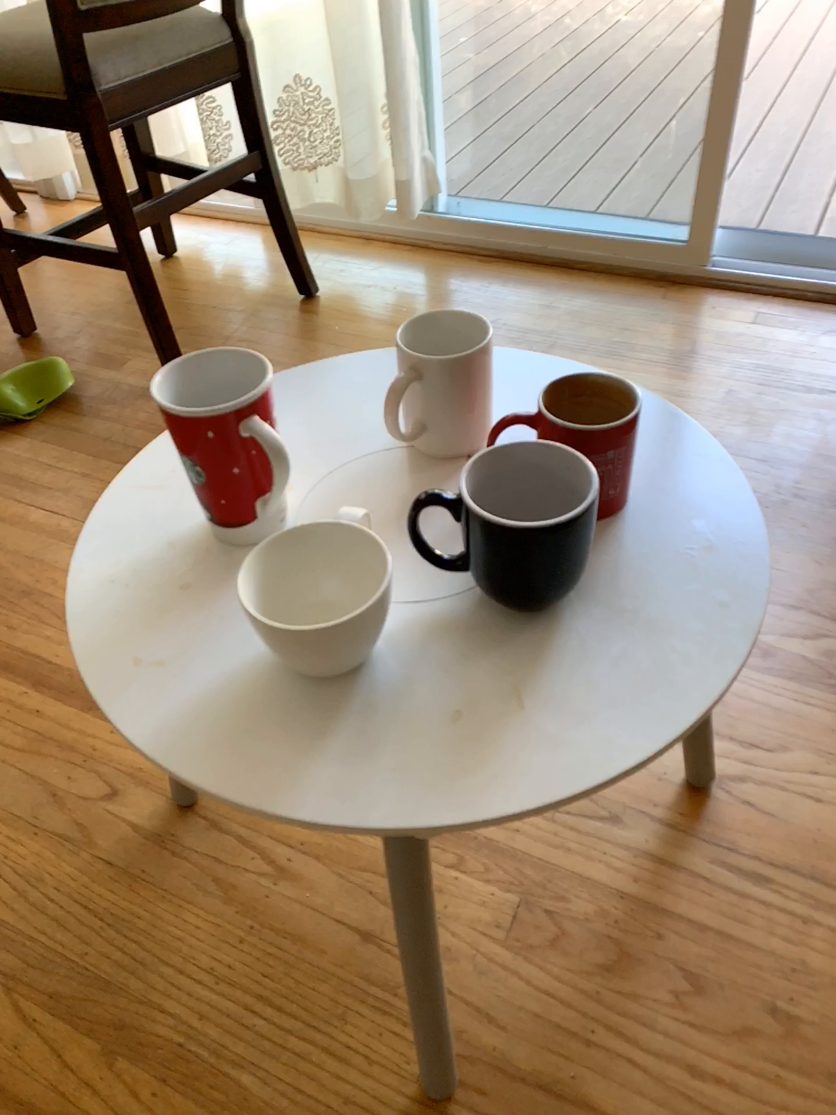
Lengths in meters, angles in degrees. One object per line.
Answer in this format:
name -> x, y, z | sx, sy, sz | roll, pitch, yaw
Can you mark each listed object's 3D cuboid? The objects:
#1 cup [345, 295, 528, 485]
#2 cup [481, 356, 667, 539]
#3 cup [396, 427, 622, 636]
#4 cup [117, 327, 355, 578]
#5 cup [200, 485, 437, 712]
cup -> 0.019, -0.145, 0.723 | 0.100, 0.090, 0.120 | 23, 50, 26
cup -> 0.119, -0.088, 0.678 | 0.120, 0.100, 0.080 | -10, 44, -5
cup -> 0.065, -0.021, 0.596 | 0.130, 0.080, 0.100 | 11, 46, 16
cup -> -0.139, -0.085, 0.674 | 0.130, 0.129, 0.100 | 27, 52, 29
cup -> -0.061, 0.023, 0.578 | 0.110, 0.060, 0.130 | 11, 46, 16
